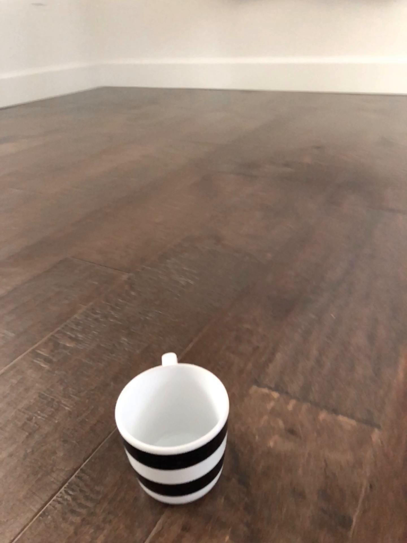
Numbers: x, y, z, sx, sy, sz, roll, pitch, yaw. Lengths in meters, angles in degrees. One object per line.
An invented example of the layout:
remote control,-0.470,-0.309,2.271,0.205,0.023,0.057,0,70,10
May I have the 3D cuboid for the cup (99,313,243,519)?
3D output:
cup,-0.027,0.105,0.353,0.090,0.079,0.121,-7,29,-6
